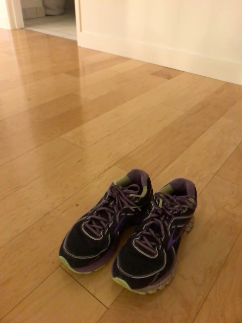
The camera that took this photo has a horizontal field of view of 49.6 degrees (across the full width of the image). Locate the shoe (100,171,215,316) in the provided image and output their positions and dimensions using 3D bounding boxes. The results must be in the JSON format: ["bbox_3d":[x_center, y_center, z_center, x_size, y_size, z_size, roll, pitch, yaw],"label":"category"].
[{"bbox_3d":[0.085,0.136,0.525,0.120,0.069,0.272,20,40,24],"label":"shoe"}]

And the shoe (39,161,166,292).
[{"bbox_3d":[-0.022,0.111,0.543,0.110,0.069,0.272,23,41,27],"label":"shoe"}]
